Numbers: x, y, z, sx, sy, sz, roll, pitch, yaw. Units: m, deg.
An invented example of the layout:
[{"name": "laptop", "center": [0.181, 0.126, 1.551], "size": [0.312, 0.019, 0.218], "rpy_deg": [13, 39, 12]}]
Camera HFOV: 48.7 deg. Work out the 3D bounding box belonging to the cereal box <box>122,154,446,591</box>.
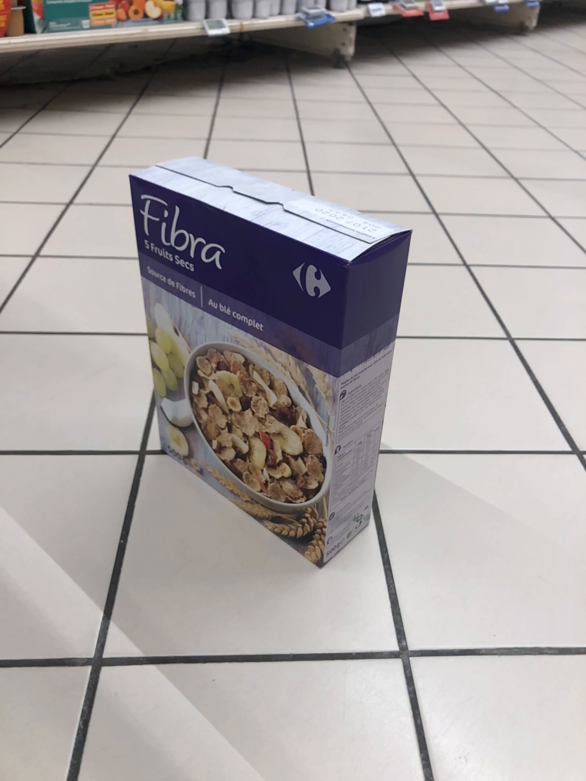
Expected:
[{"name": "cereal box", "center": [-0.019, -0.016, 0.491], "size": [0.210, 0.258, 0.080], "rpy_deg": [30, 43, 32]}]
